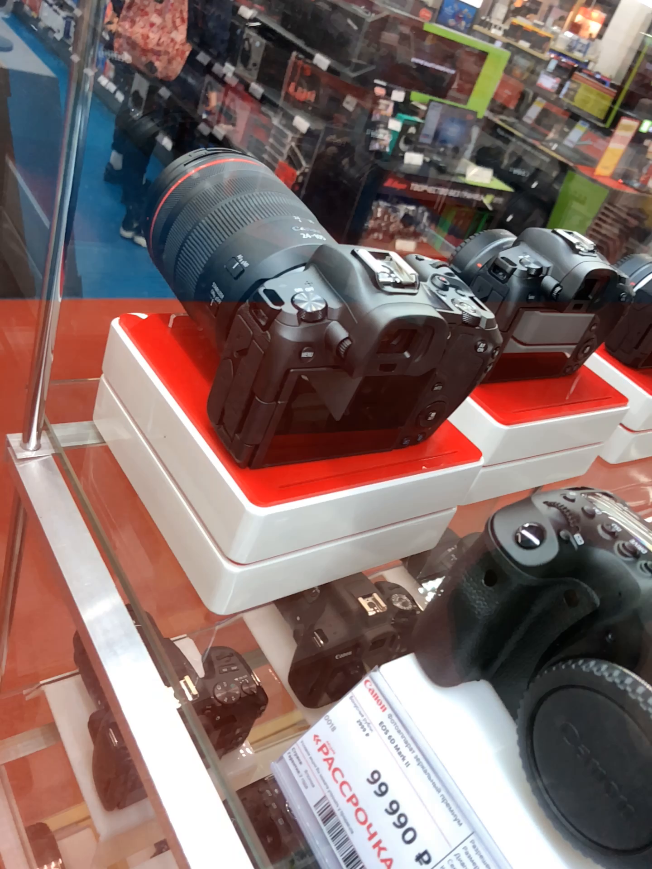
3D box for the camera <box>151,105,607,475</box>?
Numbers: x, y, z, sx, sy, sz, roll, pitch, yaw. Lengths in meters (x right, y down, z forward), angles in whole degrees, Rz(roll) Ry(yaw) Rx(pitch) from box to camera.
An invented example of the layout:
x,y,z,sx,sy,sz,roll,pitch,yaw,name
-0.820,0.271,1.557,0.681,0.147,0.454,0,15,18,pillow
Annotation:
x,y,z,sx,sy,sz,roll,pitch,yaw,name
0.018,-0.083,0.386,0.145,0.093,0.180,-8,44,-38,camera
